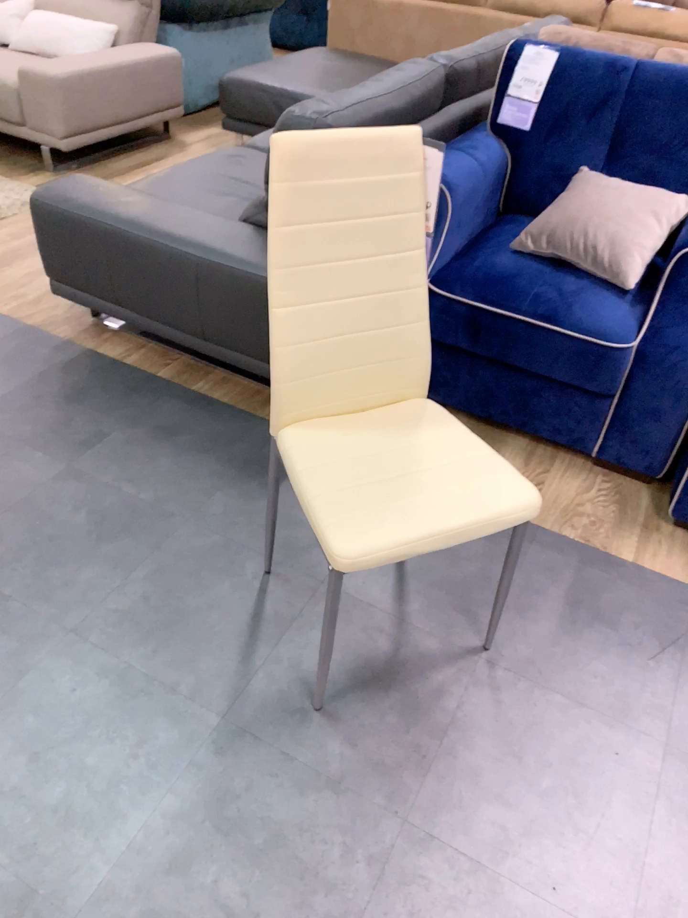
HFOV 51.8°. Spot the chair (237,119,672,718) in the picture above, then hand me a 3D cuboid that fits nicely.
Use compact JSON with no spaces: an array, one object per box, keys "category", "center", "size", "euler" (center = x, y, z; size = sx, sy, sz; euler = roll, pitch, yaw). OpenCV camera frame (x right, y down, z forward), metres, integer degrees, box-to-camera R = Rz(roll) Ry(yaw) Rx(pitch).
[{"category":"chair","center":[0.098,-0.052,1.313],"size":[0.446,0.940,0.479],"euler":[-12,43,-20]}]
